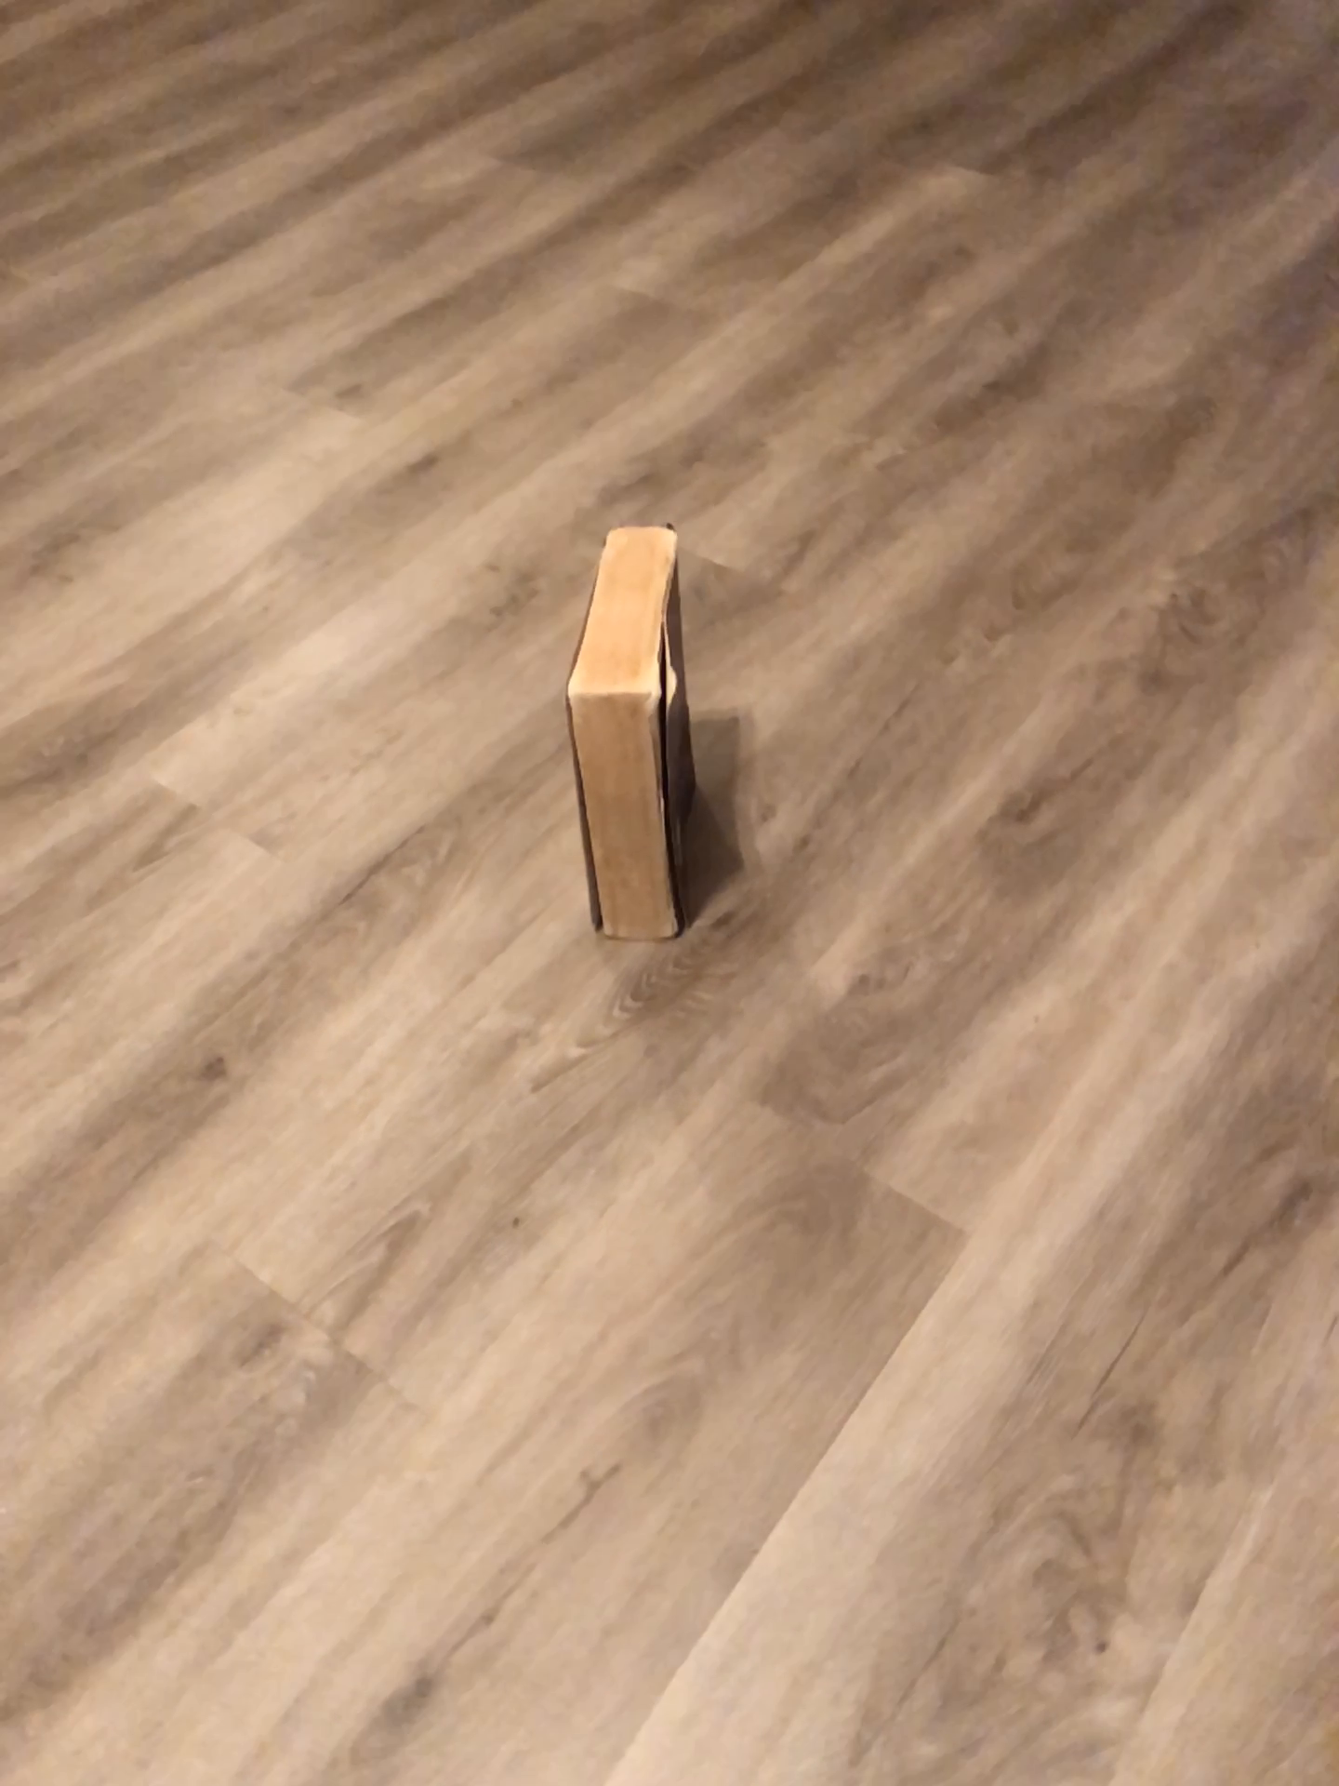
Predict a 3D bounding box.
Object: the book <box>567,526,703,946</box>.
[{"bbox_3d":[-0.016,-0.097,0.950,0.060,0.219,0.155,3,49,5],"label":"book"}]
